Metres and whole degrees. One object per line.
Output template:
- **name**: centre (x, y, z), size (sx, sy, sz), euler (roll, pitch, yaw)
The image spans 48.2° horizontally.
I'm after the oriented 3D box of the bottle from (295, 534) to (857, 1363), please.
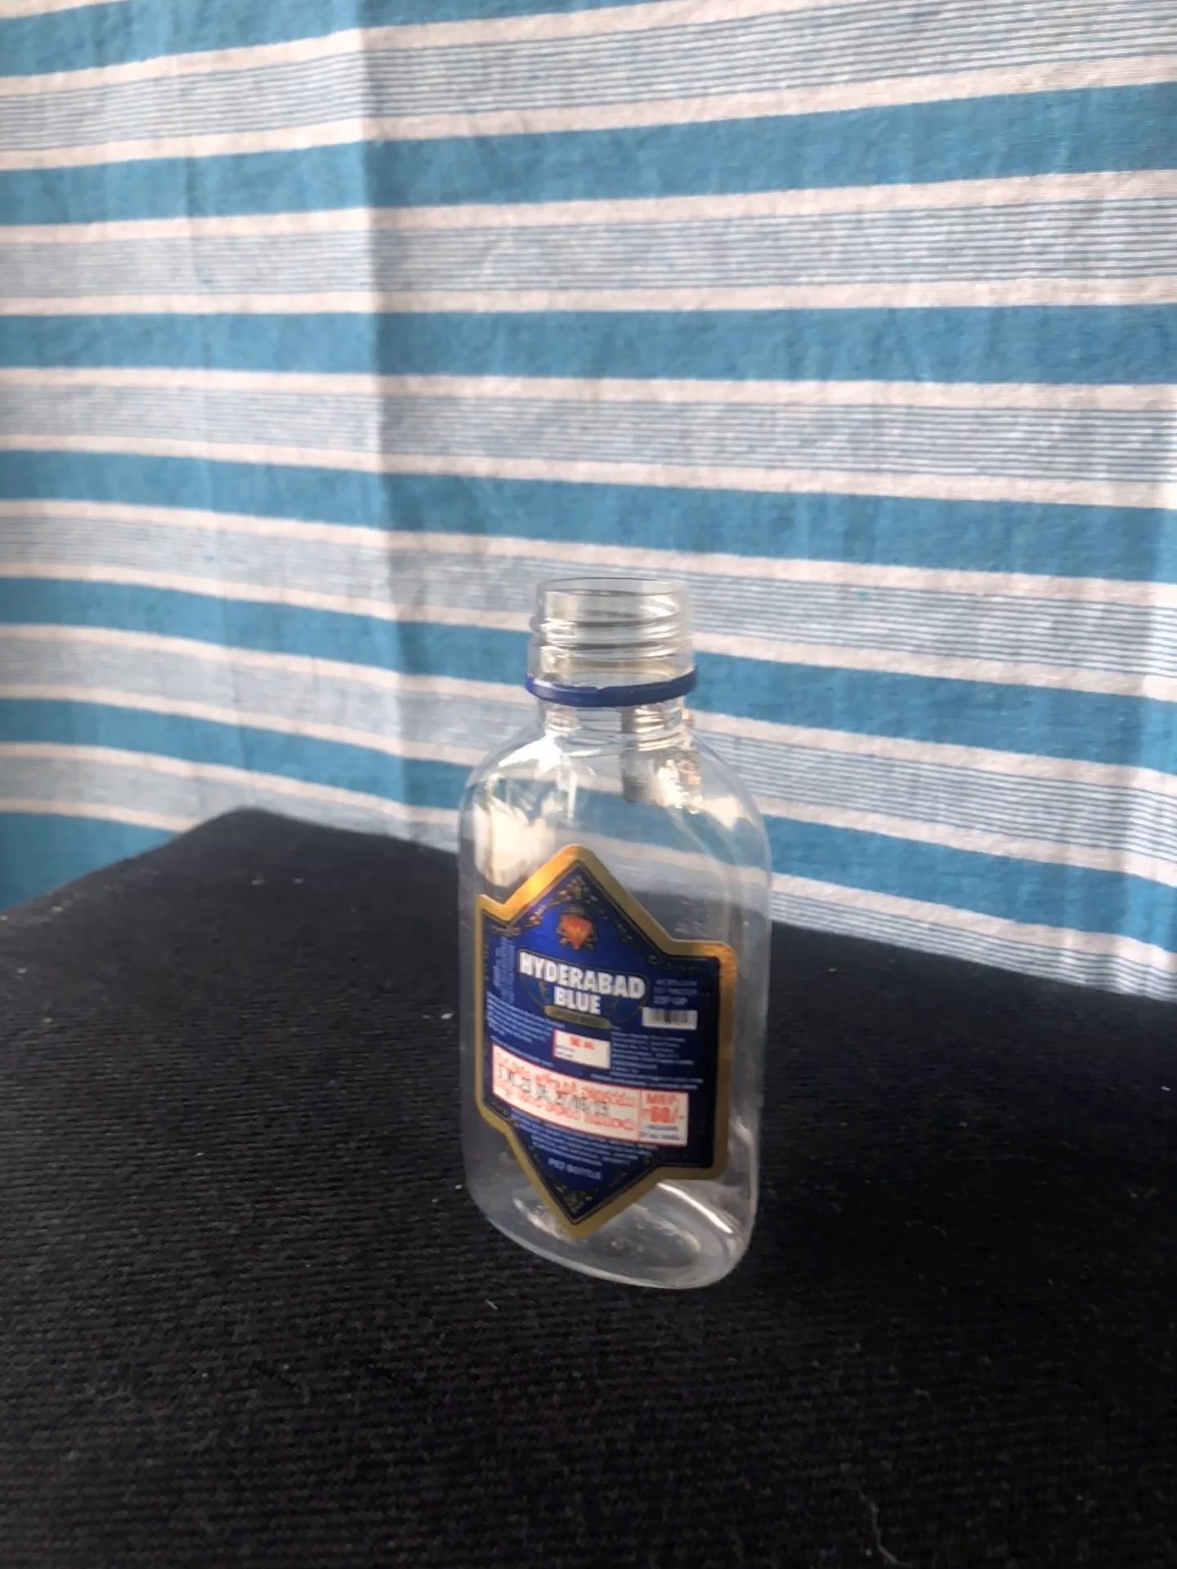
- **bottle**: centre (-0.001, 0.019, 0.196), size (0.060, 0.100, 0.050), euler (11, 22, 26)
